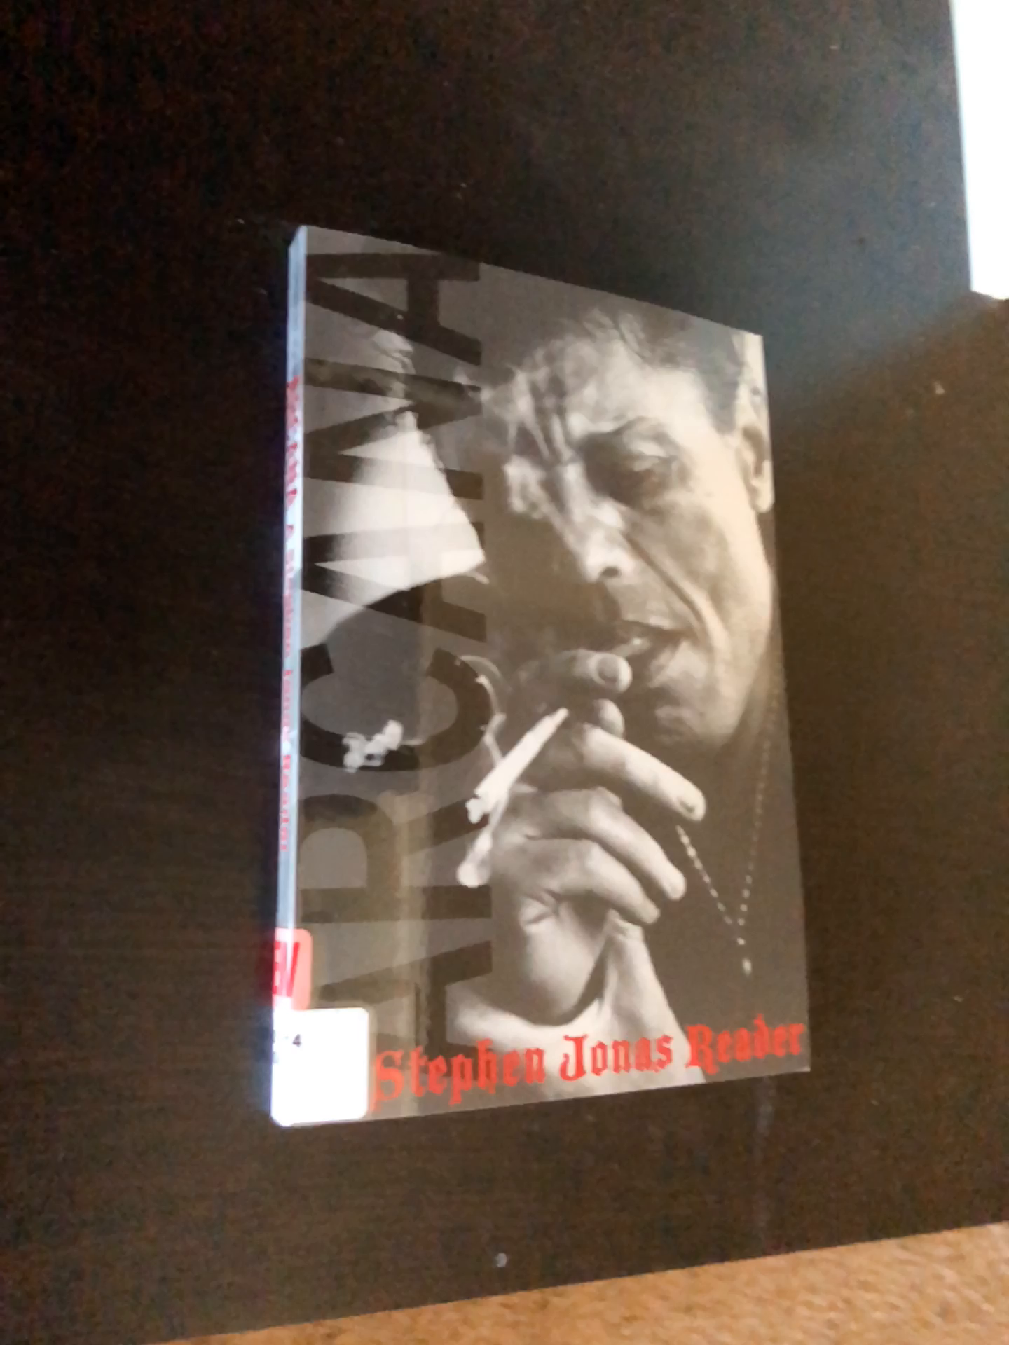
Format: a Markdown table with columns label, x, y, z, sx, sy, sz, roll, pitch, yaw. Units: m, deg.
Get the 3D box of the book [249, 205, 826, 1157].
| label | x | y | z | sx | sy | sz | roll | pitch | yaw |
| --- | --- | --- | --- | --- | --- | --- | --- | --- | --- |
| book | 0.015 | 0.000 | 0.352 | 0.180 | 0.024 | 0.260 | 4 | 80 | -26 |
